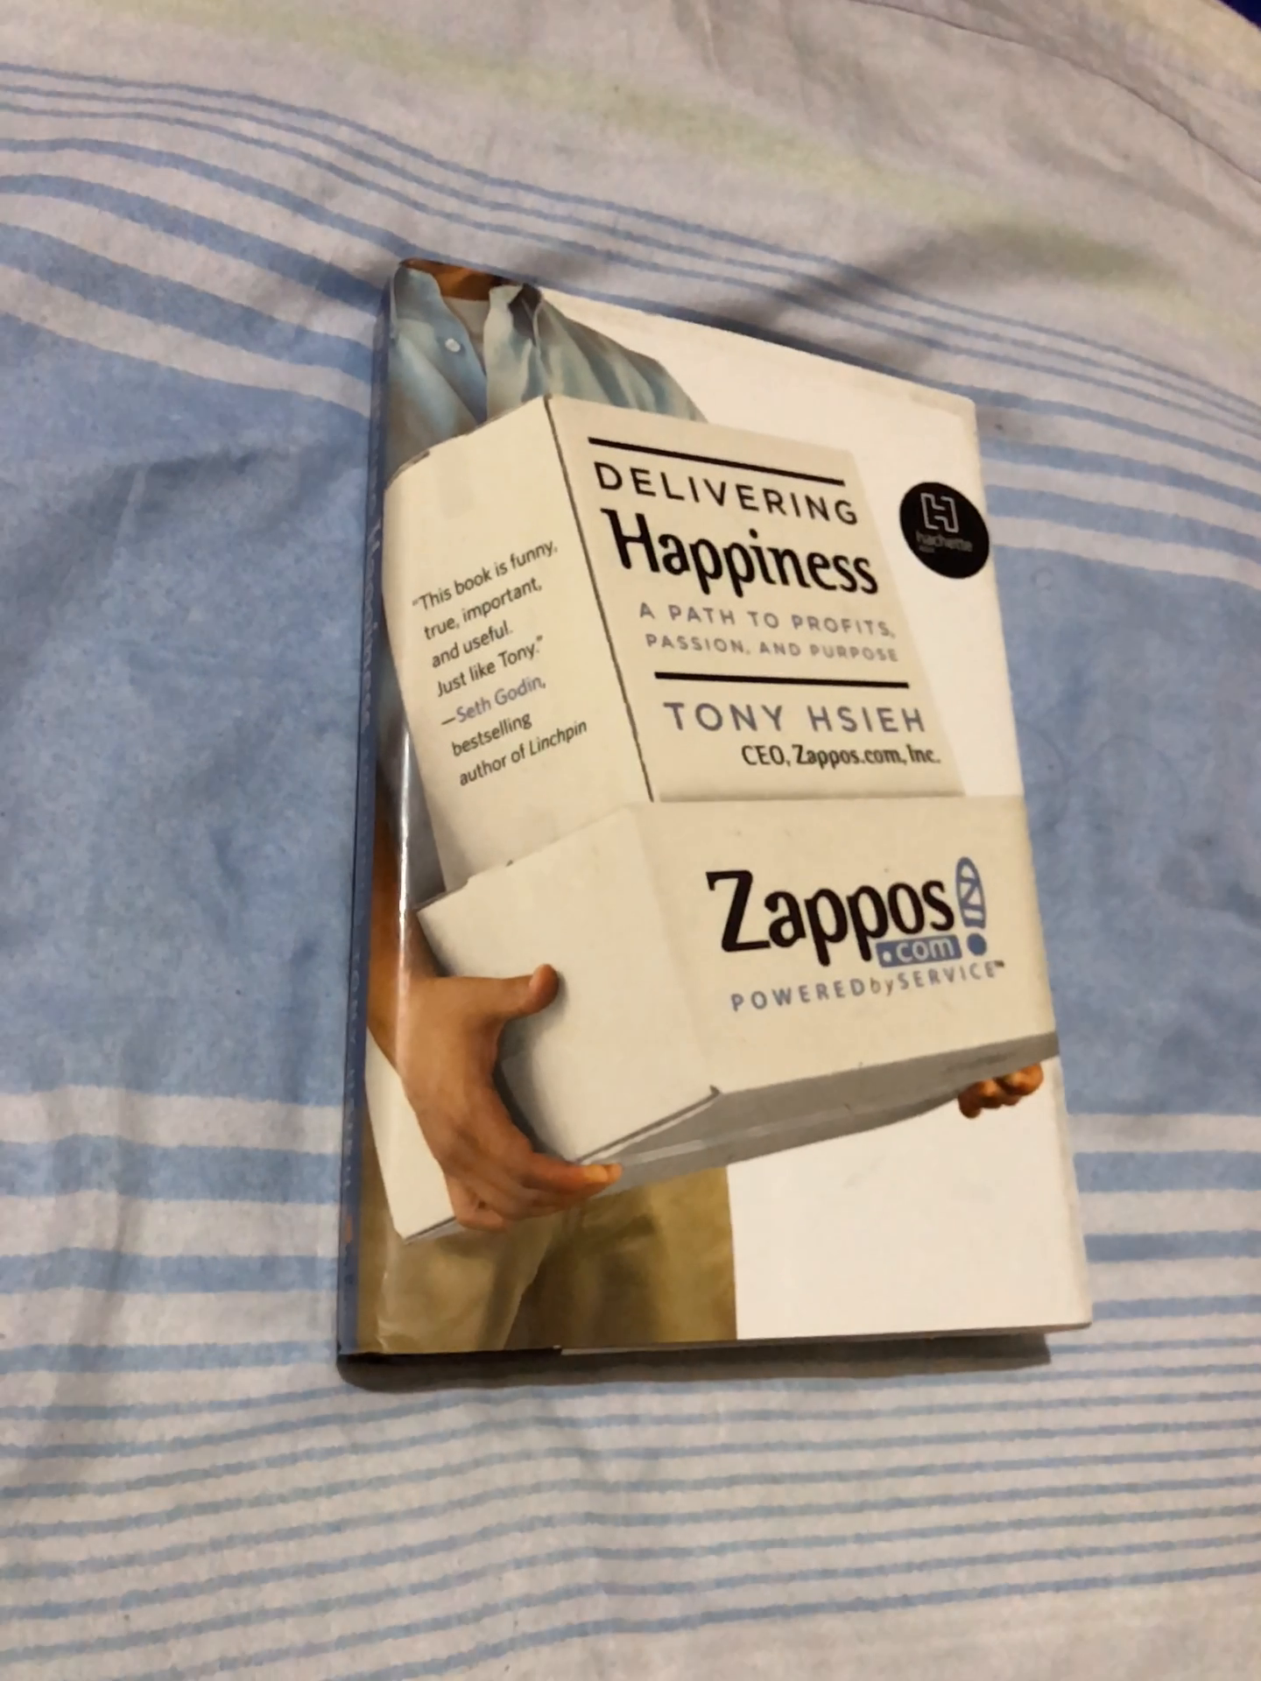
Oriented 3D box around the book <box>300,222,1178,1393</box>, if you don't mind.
[{"bbox_3d":[0.020,-0.007,0.322,0.171,0.050,0.240,6,68,-21],"label":"book"}]
